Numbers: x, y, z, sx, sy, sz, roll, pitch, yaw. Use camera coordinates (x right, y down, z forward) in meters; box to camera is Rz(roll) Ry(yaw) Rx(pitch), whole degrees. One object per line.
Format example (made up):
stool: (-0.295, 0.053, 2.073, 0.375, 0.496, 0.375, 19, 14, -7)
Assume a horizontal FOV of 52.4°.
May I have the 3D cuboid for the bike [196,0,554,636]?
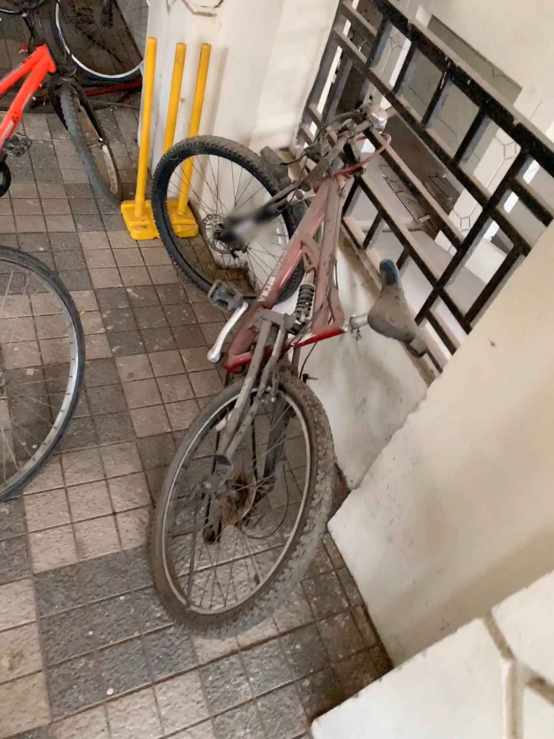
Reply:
bike: (0.198, -0.236, 1.555, 0.608, 0.831, 1.469, 1, 58, -19)
